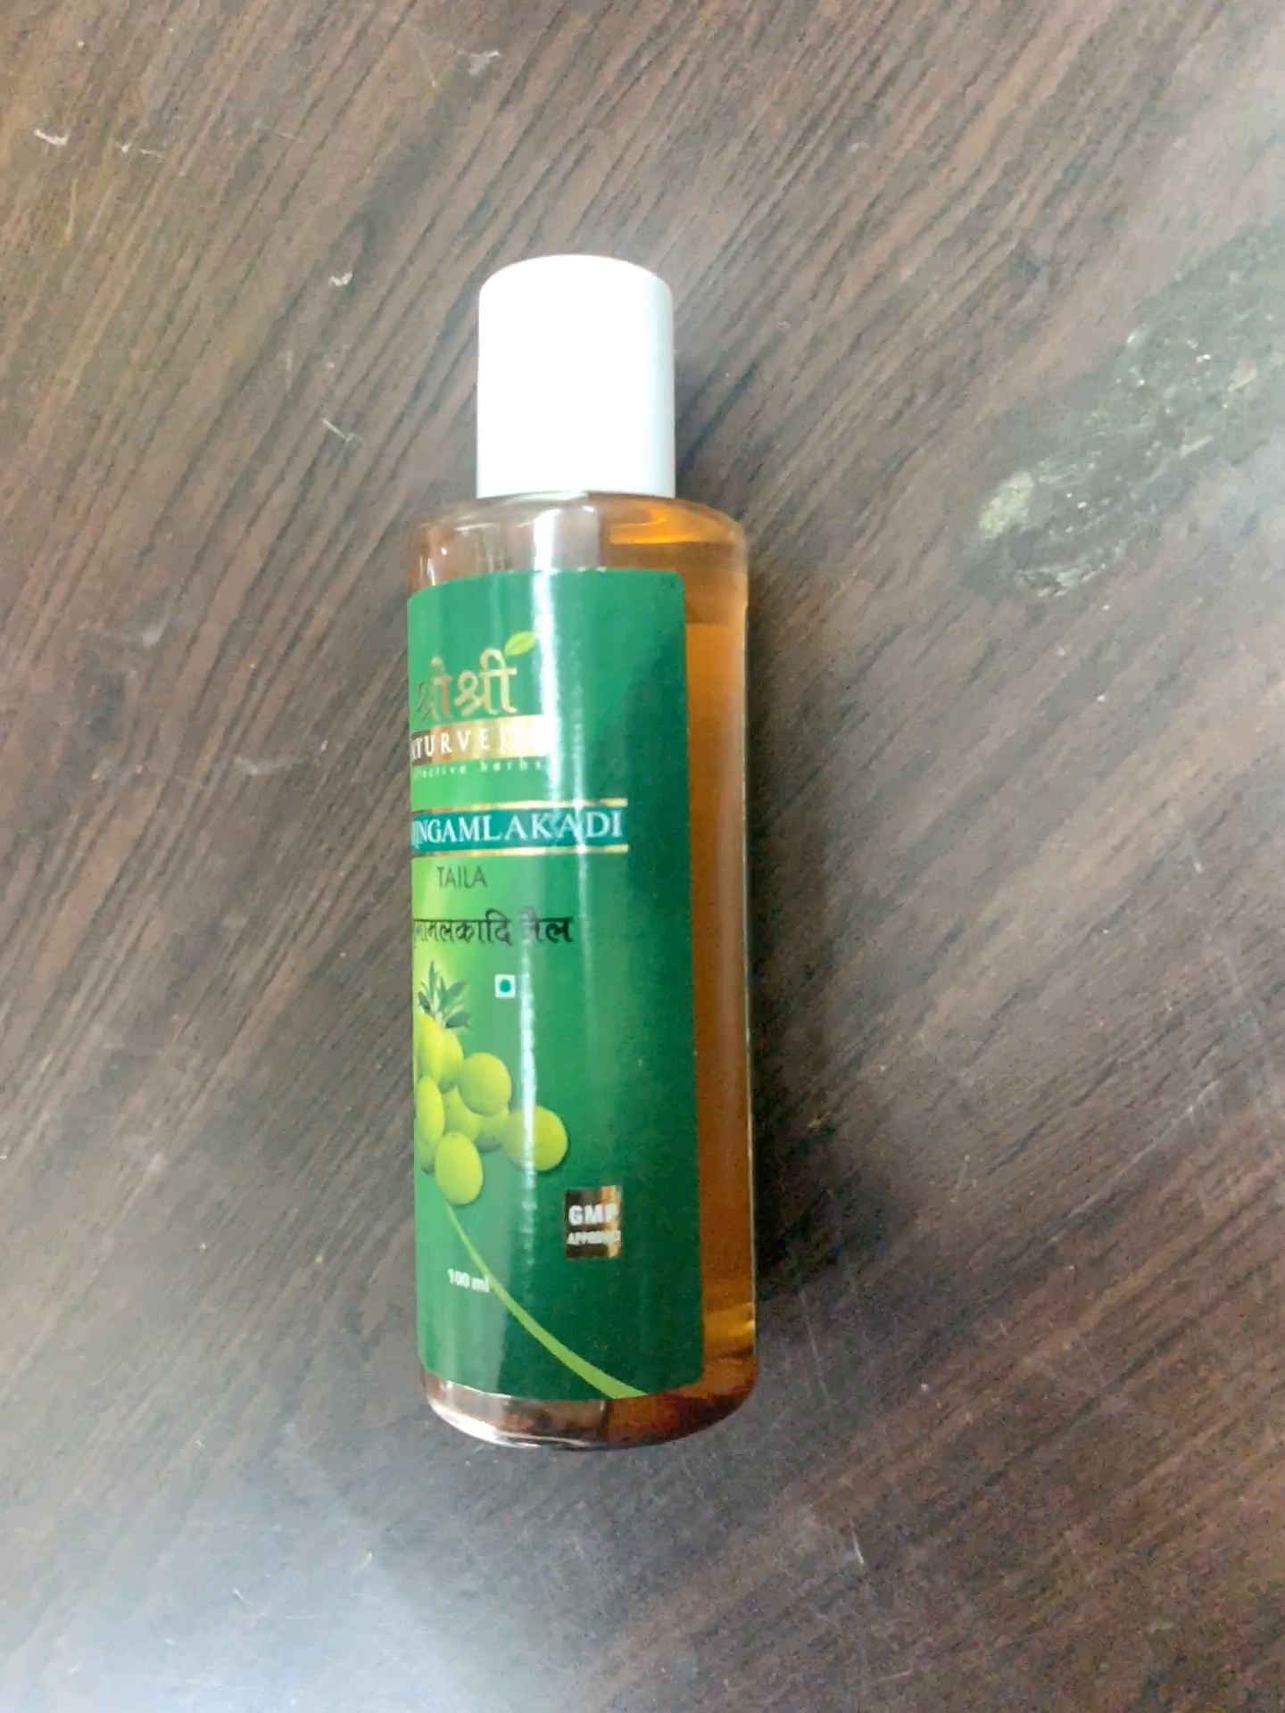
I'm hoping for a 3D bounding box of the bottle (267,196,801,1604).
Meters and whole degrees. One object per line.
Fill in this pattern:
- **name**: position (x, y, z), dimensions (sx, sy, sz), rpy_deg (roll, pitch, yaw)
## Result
- **bottle**: position (-0.011, 0.004, 0.142), dimensions (0.040, 0.040, 0.120), rpy_deg (0, 90, 37)
